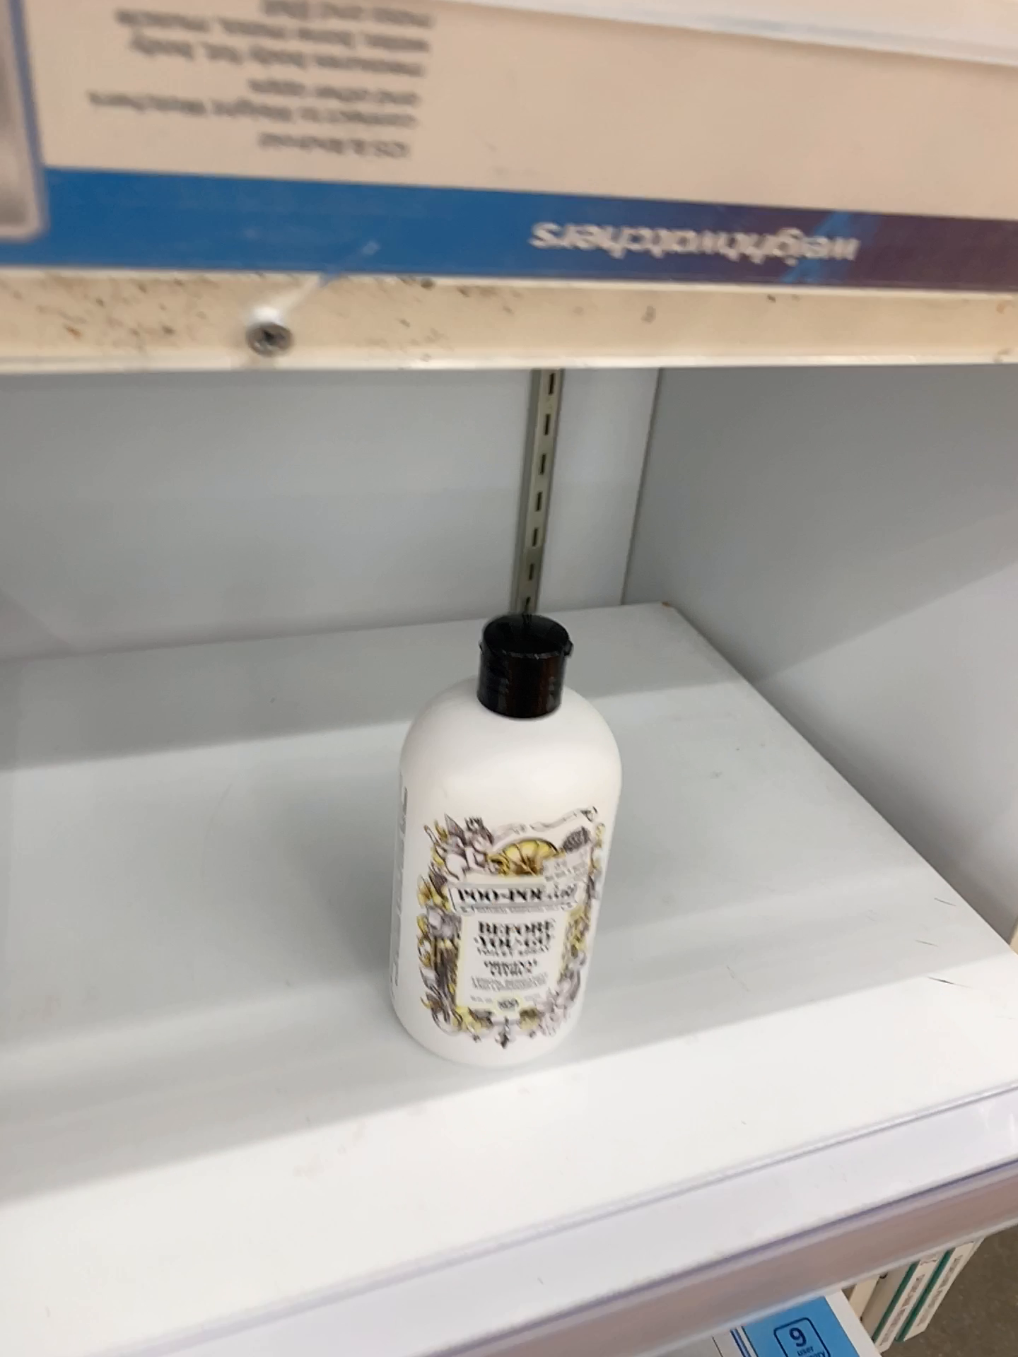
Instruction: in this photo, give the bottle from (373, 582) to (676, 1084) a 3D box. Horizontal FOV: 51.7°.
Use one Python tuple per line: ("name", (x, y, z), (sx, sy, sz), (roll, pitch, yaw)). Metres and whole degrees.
("bottle", (-0.003, 0.053, 0.357), (0.073, 0.153, 0.070), (5, 31, -3))
